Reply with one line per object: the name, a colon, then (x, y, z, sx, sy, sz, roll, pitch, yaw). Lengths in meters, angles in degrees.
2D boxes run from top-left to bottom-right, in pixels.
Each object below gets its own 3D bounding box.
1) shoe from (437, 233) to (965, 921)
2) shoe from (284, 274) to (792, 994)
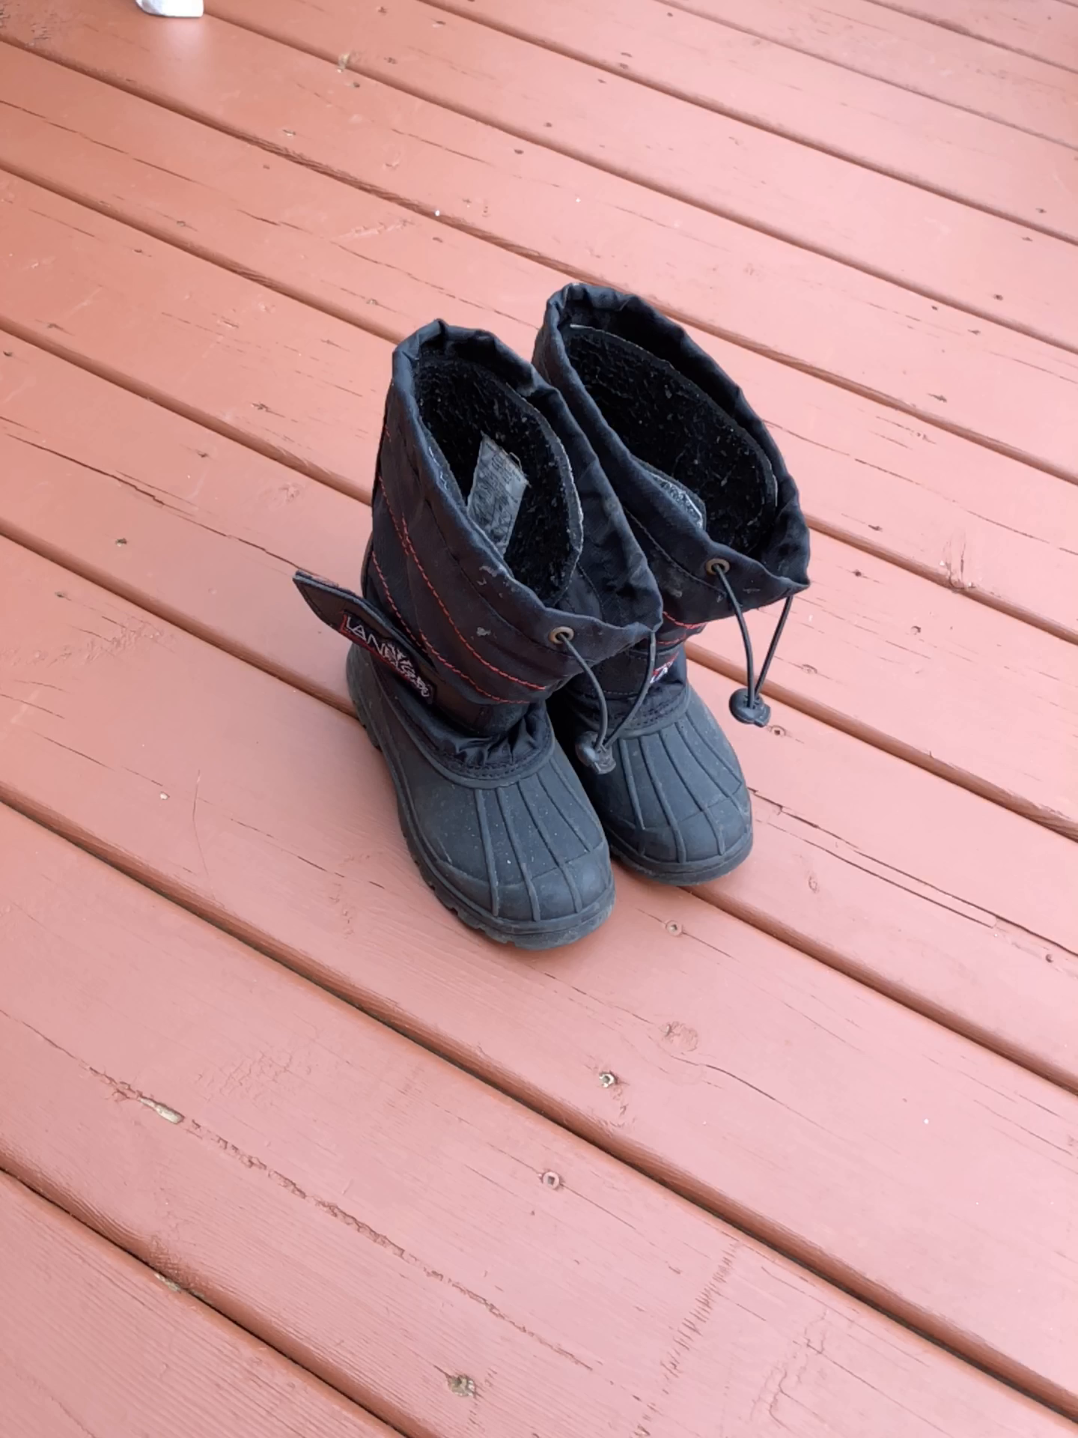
shoe: (0.051, -0.058, 0.567, 0.100, 0.229, 0.210, -27, 63, -22)
shoe: (-0.016, -0.029, 0.538, 0.100, 0.229, 0.210, -23, 61, -19)
